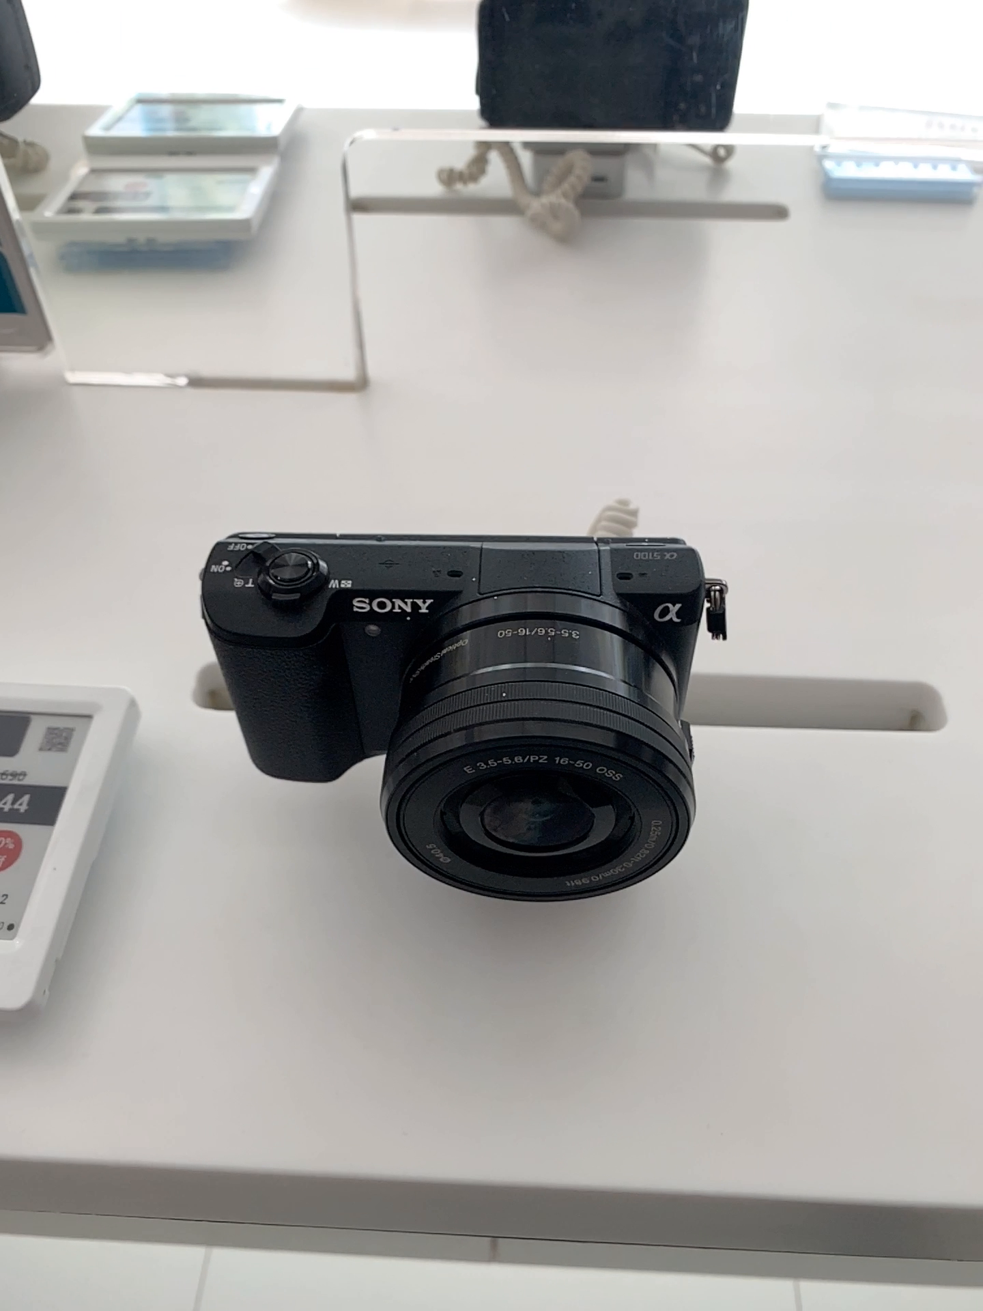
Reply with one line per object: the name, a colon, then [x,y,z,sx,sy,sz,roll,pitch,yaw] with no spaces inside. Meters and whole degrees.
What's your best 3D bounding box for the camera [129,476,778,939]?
camera: [-0.005,0.013,0.222,0.110,0.080,0.060,2,48,2]
